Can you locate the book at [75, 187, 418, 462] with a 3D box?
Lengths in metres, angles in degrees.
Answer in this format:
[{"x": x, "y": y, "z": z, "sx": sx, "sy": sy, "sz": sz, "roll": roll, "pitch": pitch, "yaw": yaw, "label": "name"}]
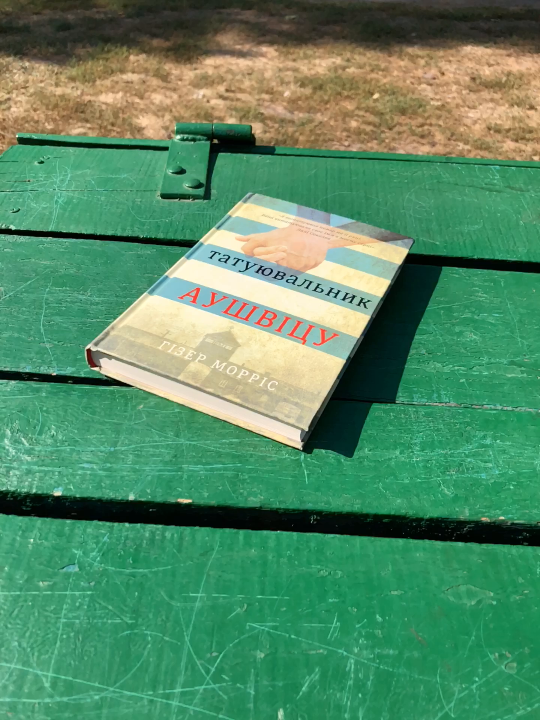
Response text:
[{"x": -0.001, "y": -0.043, "z": 0.403, "sx": 0.147, "sy": 0.020, "sz": 0.214, "roll": 21, "pitch": 47, "yaw": 15, "label": "book"}]
